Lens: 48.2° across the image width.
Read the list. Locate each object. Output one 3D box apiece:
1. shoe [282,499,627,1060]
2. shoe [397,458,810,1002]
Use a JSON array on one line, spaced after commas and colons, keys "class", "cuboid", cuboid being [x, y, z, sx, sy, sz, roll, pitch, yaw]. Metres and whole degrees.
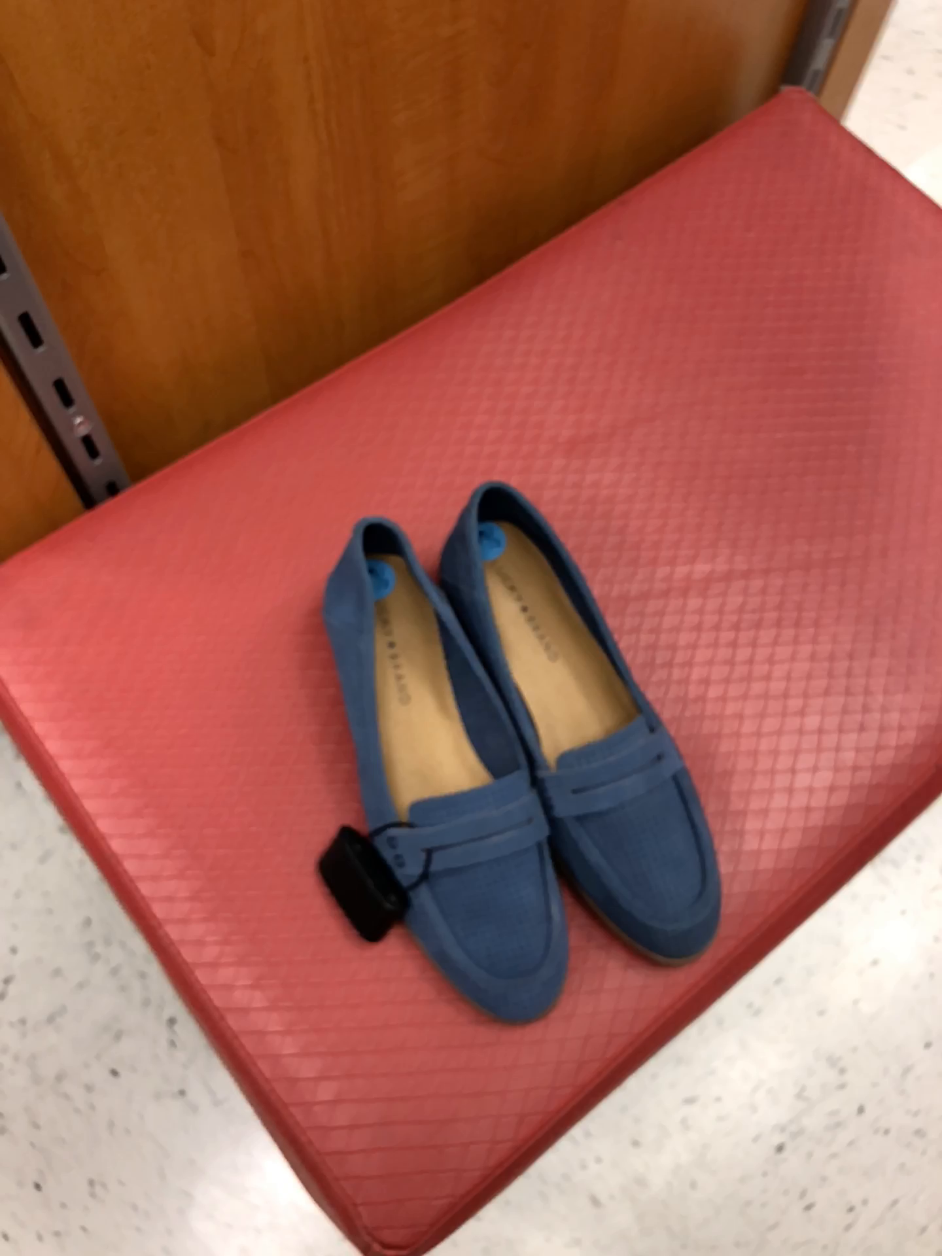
[{"class": "shoe", "cuboid": [-0.016, 0.069, 0.522, 0.082, 0.069, 0.254, -17, 68, -10]}, {"class": "shoe", "cuboid": [0.055, 0.046, 0.539, 0.085, 0.069, 0.258, -23, 69, -12]}]
